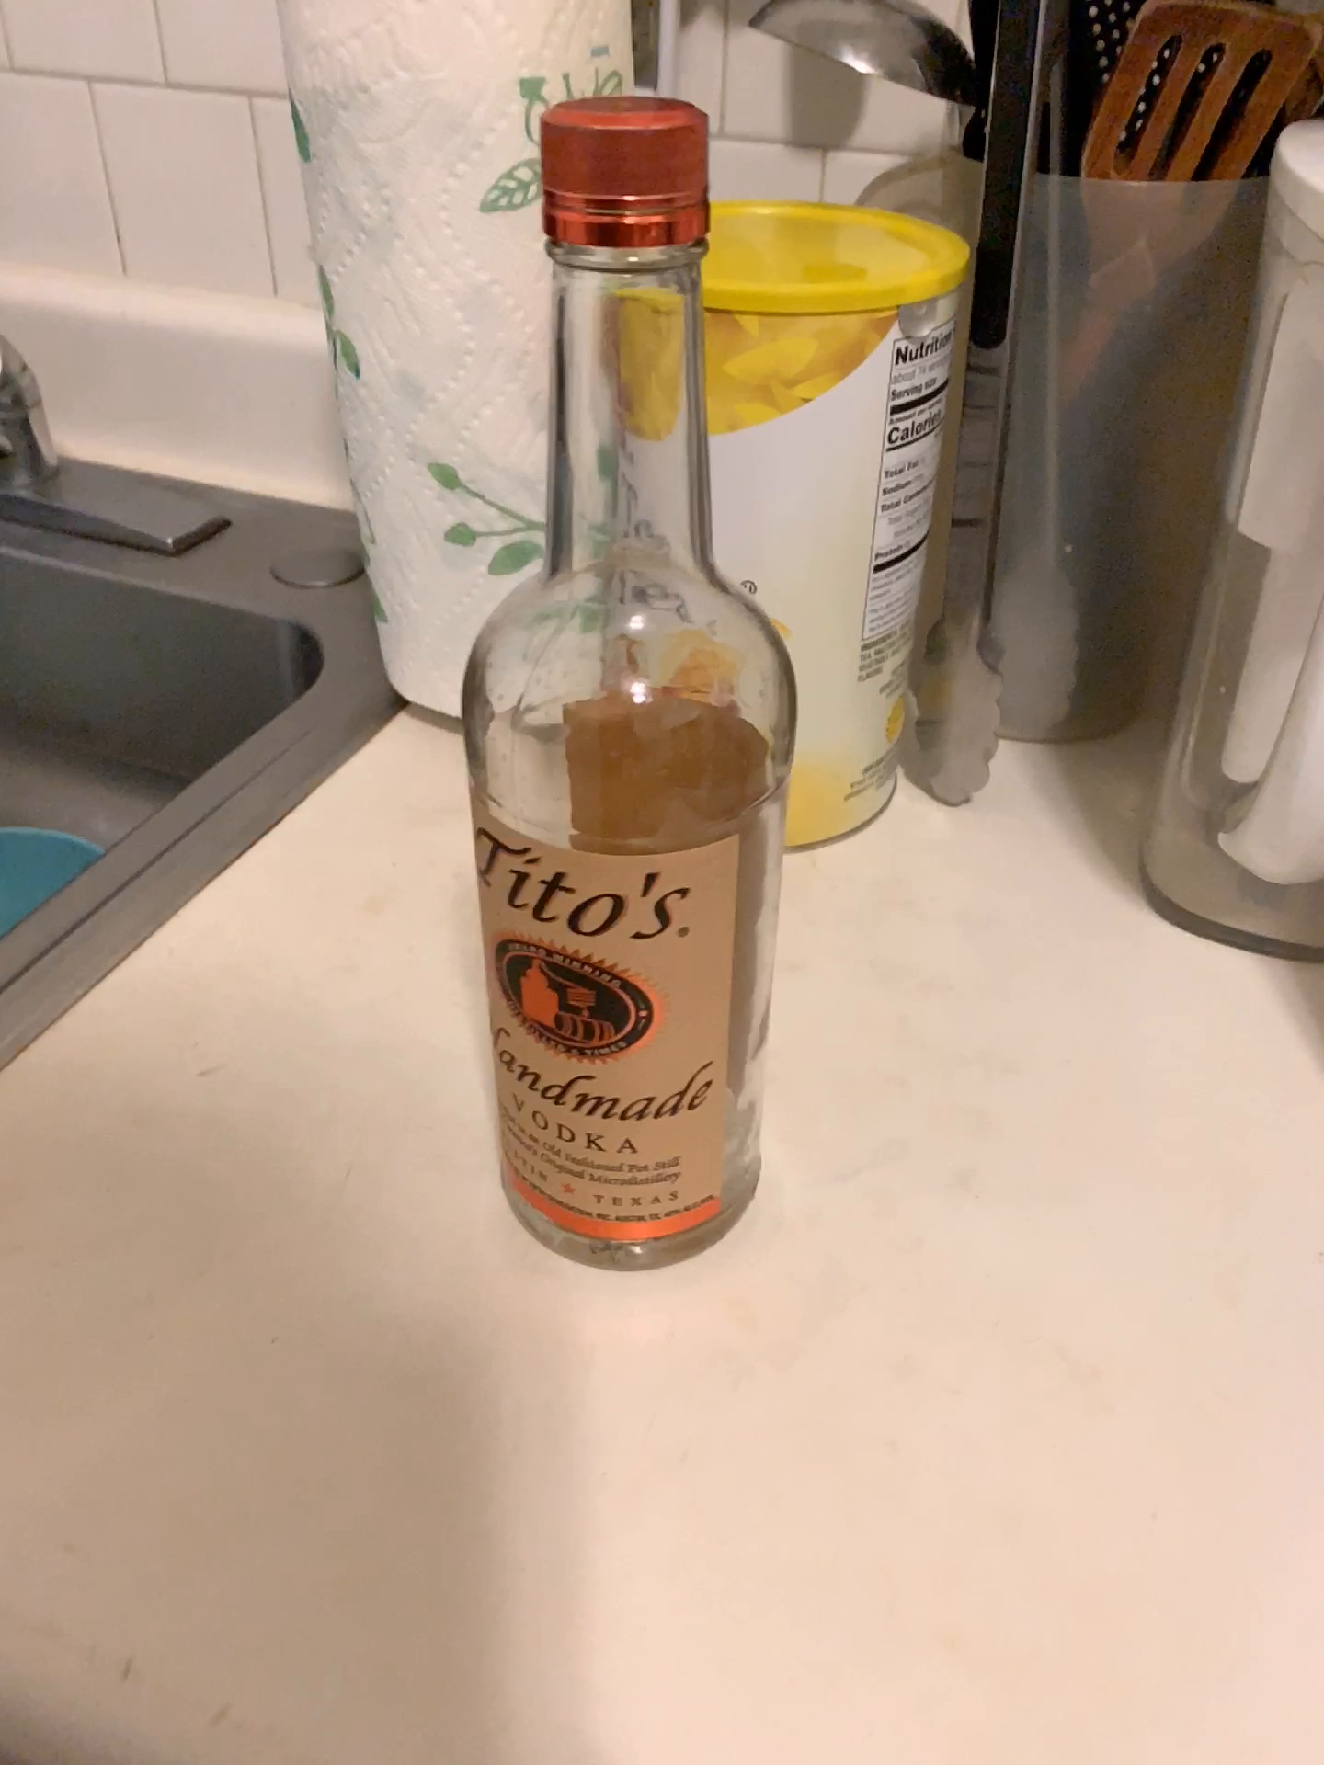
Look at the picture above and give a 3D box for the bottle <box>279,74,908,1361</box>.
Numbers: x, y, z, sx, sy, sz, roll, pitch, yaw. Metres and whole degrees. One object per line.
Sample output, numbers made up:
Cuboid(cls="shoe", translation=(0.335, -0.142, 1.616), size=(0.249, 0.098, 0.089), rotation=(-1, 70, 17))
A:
Cuboid(cls="bottle", translation=(-0.013, -0.020, 0.327), size=(0.080, 0.288, 0.080), rotation=(1, 37, -1))
